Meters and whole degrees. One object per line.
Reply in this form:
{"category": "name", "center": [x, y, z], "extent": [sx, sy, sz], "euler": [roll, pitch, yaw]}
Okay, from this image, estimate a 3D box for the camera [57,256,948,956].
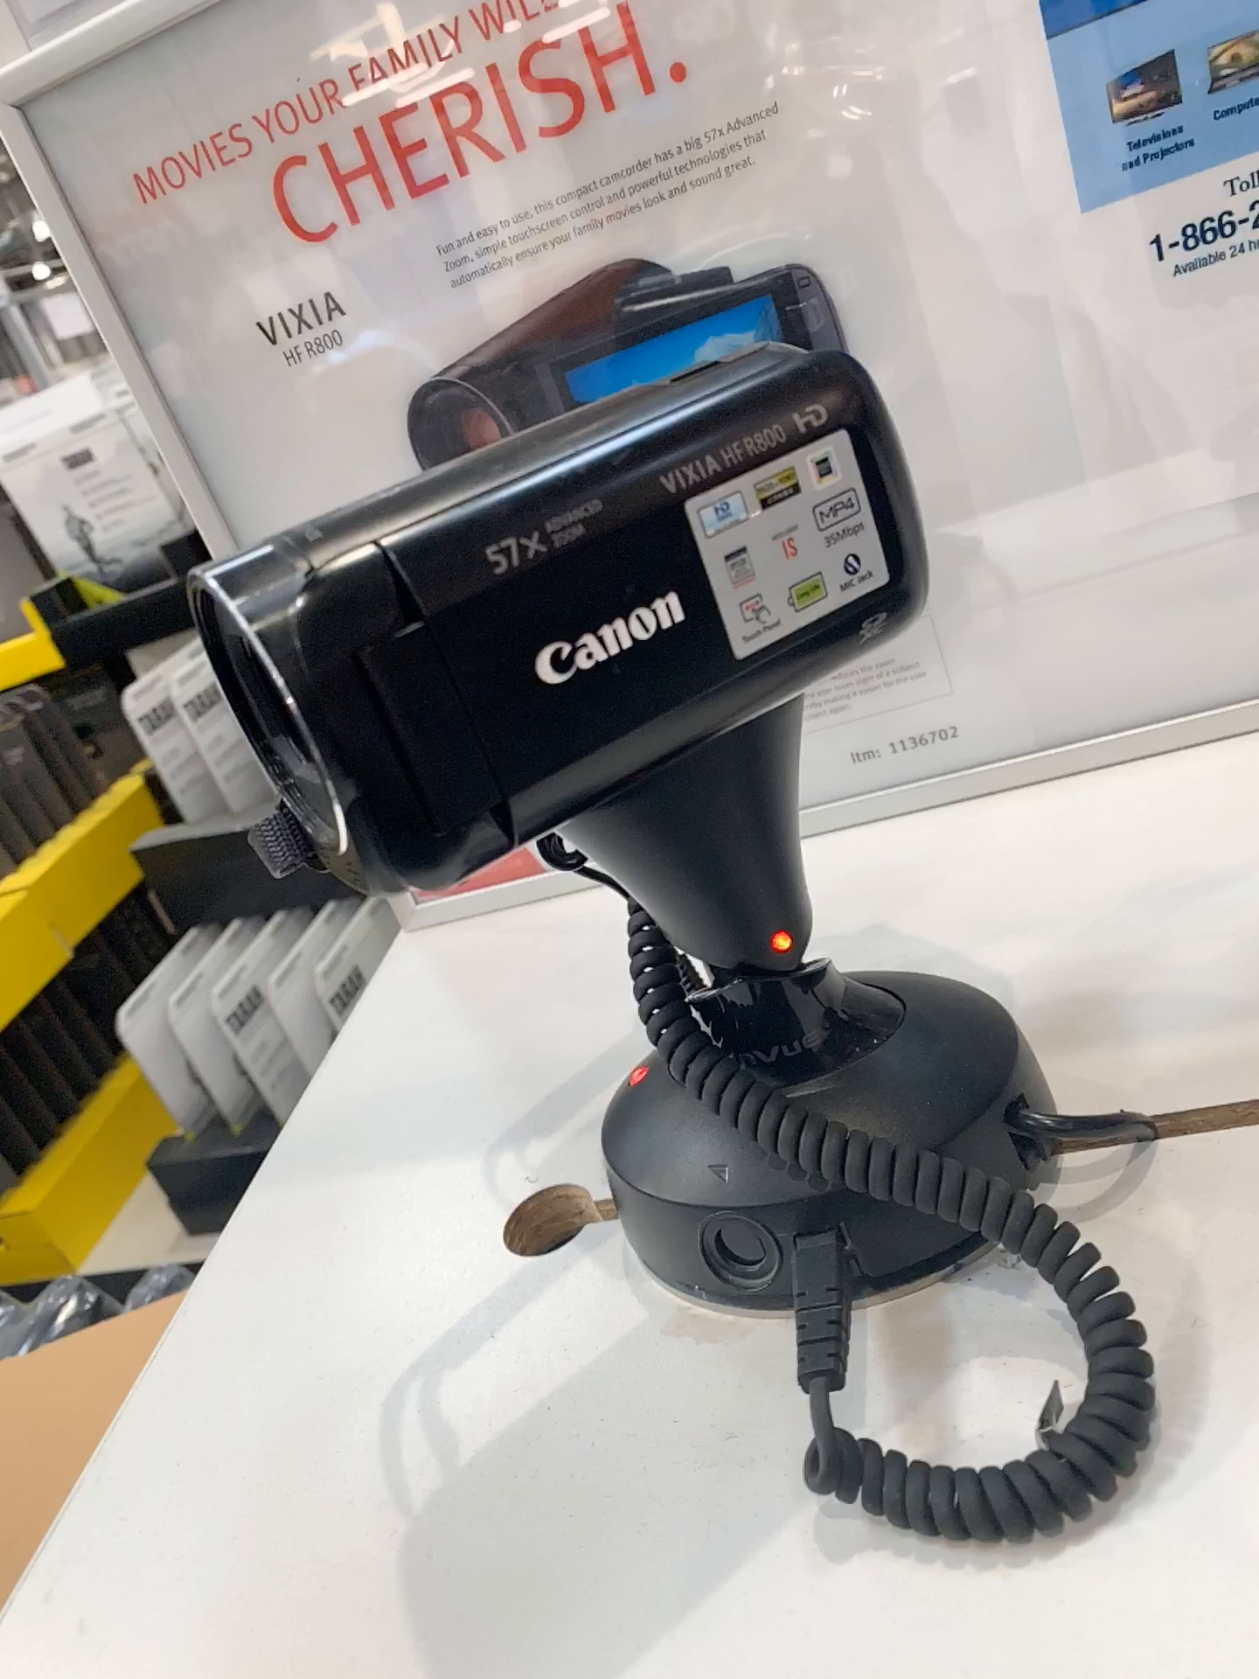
{"category": "camera", "center": [-0.017, -0.041, 0.204], "extent": [0.113, 0.054, 0.058], "euler": [-30, 24, -22]}
